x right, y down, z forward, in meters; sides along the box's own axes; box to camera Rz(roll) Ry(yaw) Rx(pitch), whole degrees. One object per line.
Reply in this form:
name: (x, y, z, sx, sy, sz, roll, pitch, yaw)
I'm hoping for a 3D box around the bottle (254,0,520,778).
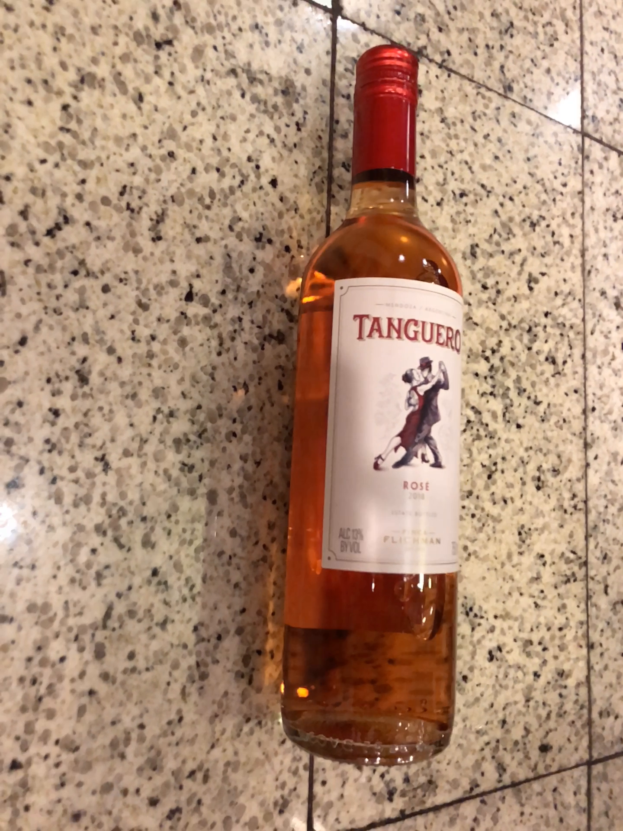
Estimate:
bottle: (0.036, -0.030, 0.300, 0.090, 0.060, 0.320, 6, 82, -33)
